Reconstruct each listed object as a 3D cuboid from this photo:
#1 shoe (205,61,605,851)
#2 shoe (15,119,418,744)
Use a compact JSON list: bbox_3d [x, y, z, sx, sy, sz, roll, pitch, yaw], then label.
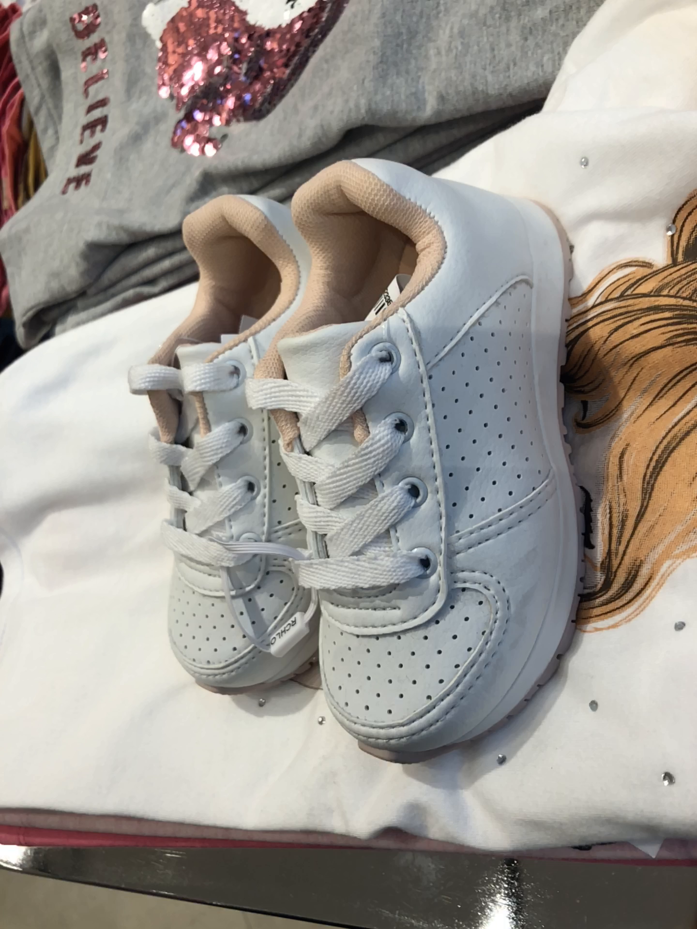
[{"bbox_3d":[0.017,-0.002,0.204,0.080,0.060,0.160,-2,82,34],"label":"shoe"},{"bbox_3d":[-0.041,-0.011,0.245,0.080,0.060,0.160,8,88,36],"label":"shoe"}]
